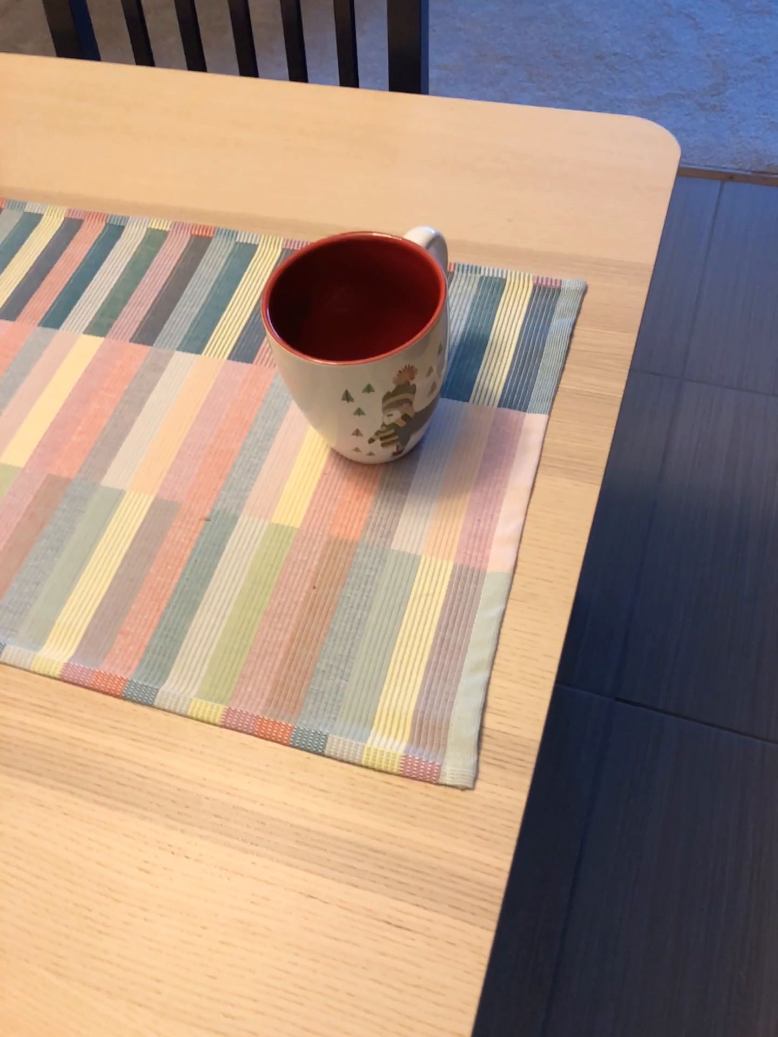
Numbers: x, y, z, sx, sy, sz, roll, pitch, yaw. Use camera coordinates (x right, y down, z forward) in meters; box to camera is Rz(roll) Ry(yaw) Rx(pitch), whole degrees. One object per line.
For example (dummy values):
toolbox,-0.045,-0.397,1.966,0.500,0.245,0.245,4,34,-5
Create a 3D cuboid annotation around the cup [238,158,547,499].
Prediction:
cup,0.009,-0.106,0.470,0.100,0.090,0.140,23,62,20
